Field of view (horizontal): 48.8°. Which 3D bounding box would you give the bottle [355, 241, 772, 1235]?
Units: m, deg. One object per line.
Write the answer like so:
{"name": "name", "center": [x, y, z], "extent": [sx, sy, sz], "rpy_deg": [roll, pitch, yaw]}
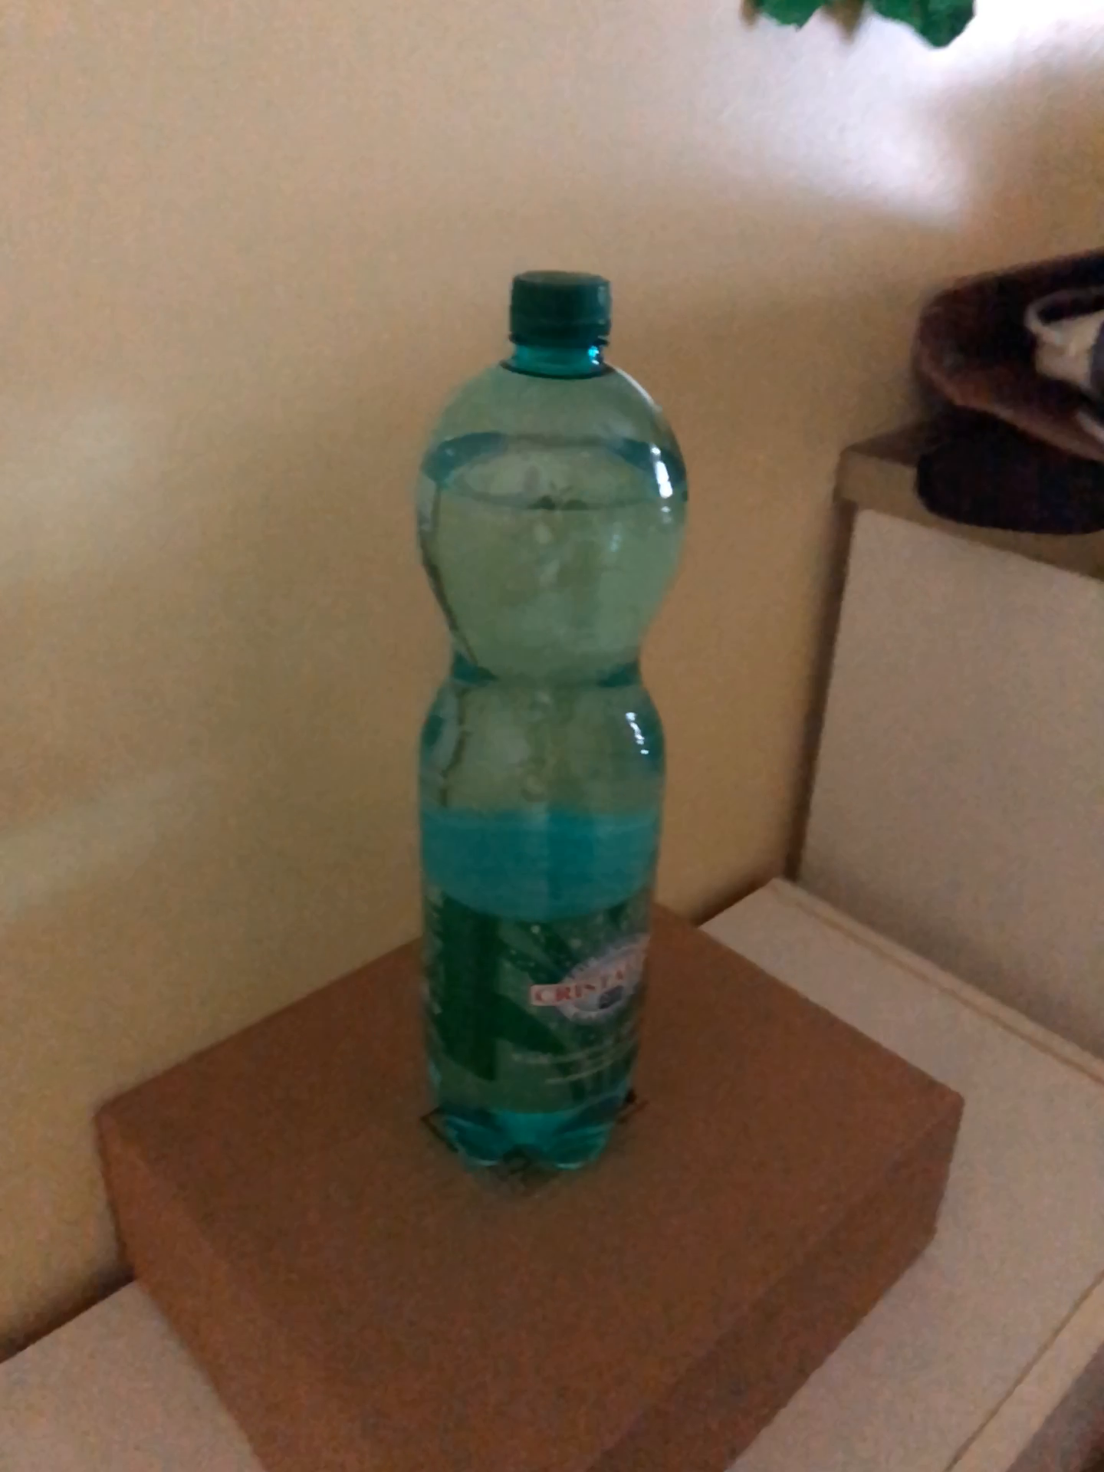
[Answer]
{"name": "bottle", "center": [-0.003, 0.013, 0.432], "extent": [0.090, 0.338, 0.080], "rpy_deg": [-19, 35, -33]}
